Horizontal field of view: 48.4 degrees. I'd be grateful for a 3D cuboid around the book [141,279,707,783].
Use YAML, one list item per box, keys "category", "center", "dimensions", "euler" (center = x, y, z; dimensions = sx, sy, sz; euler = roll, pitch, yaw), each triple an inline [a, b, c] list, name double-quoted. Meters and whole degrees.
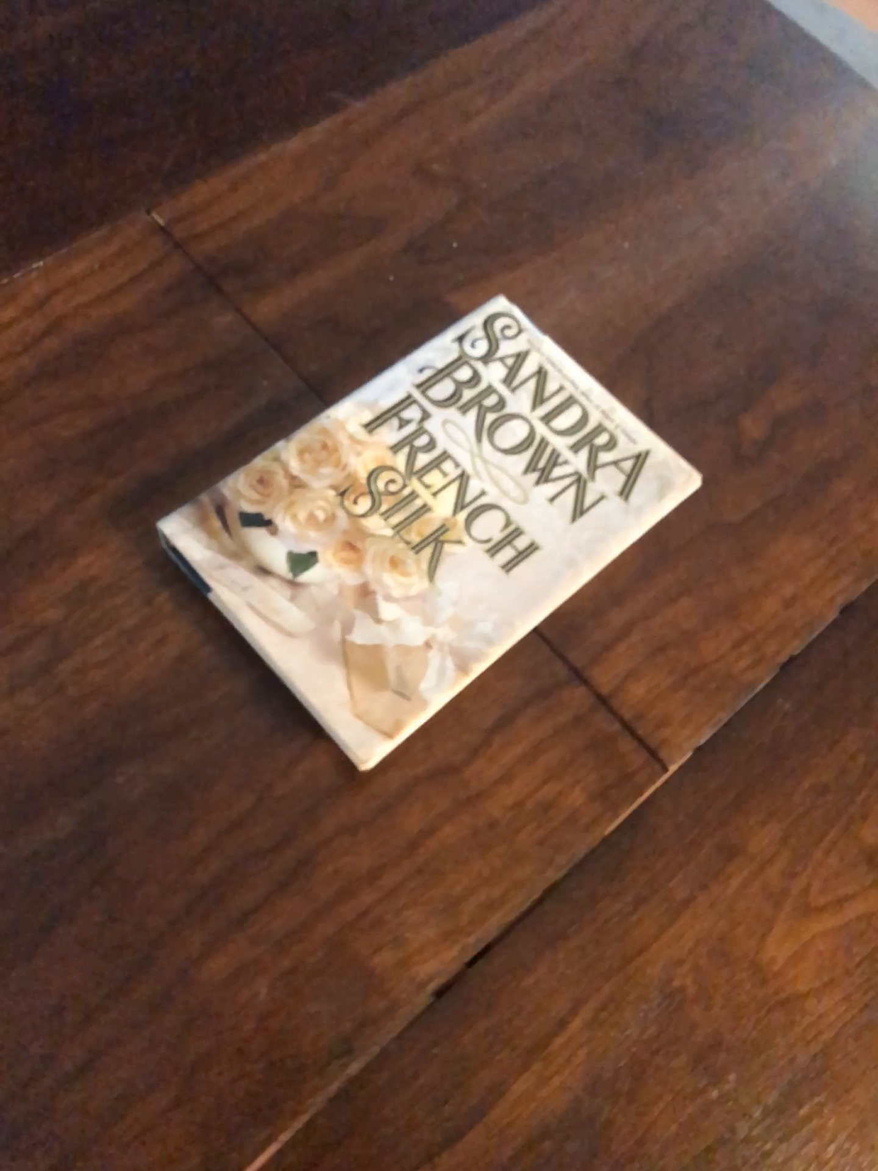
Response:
- category: "book"
  center: [-0.003, -0.040, 0.506]
  dimensions: [0.240, 0.033, 0.161]
  euler: [-38, 75, -20]
